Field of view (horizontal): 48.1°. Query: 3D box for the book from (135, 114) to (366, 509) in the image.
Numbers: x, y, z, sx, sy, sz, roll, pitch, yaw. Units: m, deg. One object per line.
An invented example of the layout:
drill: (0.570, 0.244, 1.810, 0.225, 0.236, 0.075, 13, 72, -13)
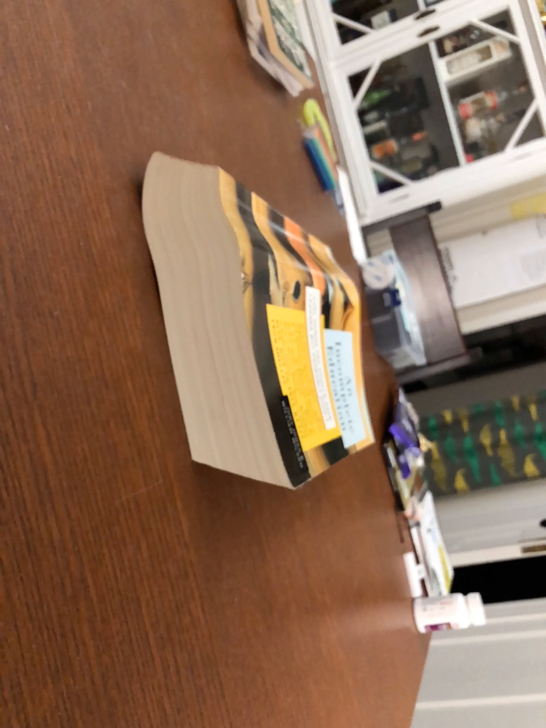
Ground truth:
book: (0.003, -0.028, 0.452, 0.251, 0.060, 0.210, -2, 86, -69)
